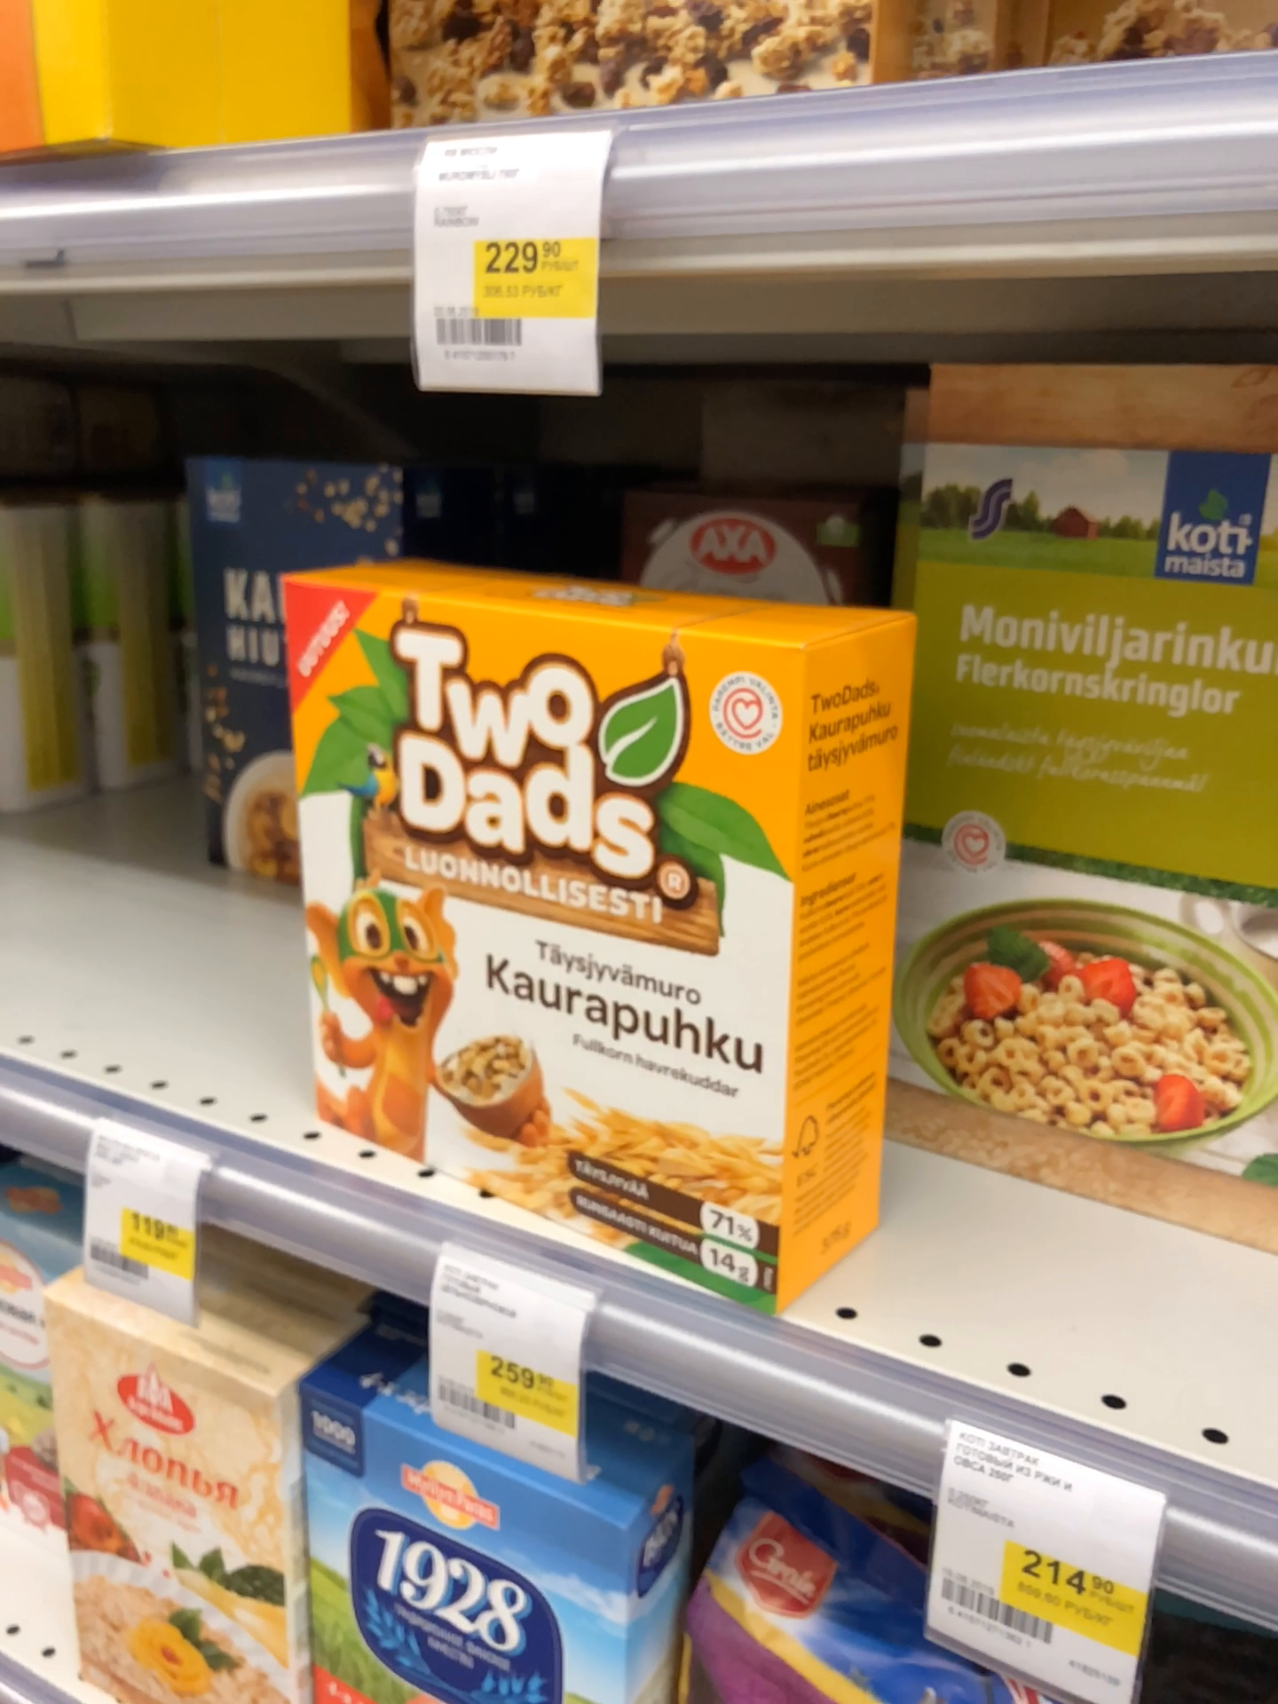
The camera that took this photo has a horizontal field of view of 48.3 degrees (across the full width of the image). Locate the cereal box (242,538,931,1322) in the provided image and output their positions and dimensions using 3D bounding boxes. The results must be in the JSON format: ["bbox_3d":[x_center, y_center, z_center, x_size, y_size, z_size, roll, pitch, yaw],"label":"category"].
[{"bbox_3d":[-0.025,0.008,0.438,0.200,0.189,0.070,13,20,35],"label":"cereal box"}]
